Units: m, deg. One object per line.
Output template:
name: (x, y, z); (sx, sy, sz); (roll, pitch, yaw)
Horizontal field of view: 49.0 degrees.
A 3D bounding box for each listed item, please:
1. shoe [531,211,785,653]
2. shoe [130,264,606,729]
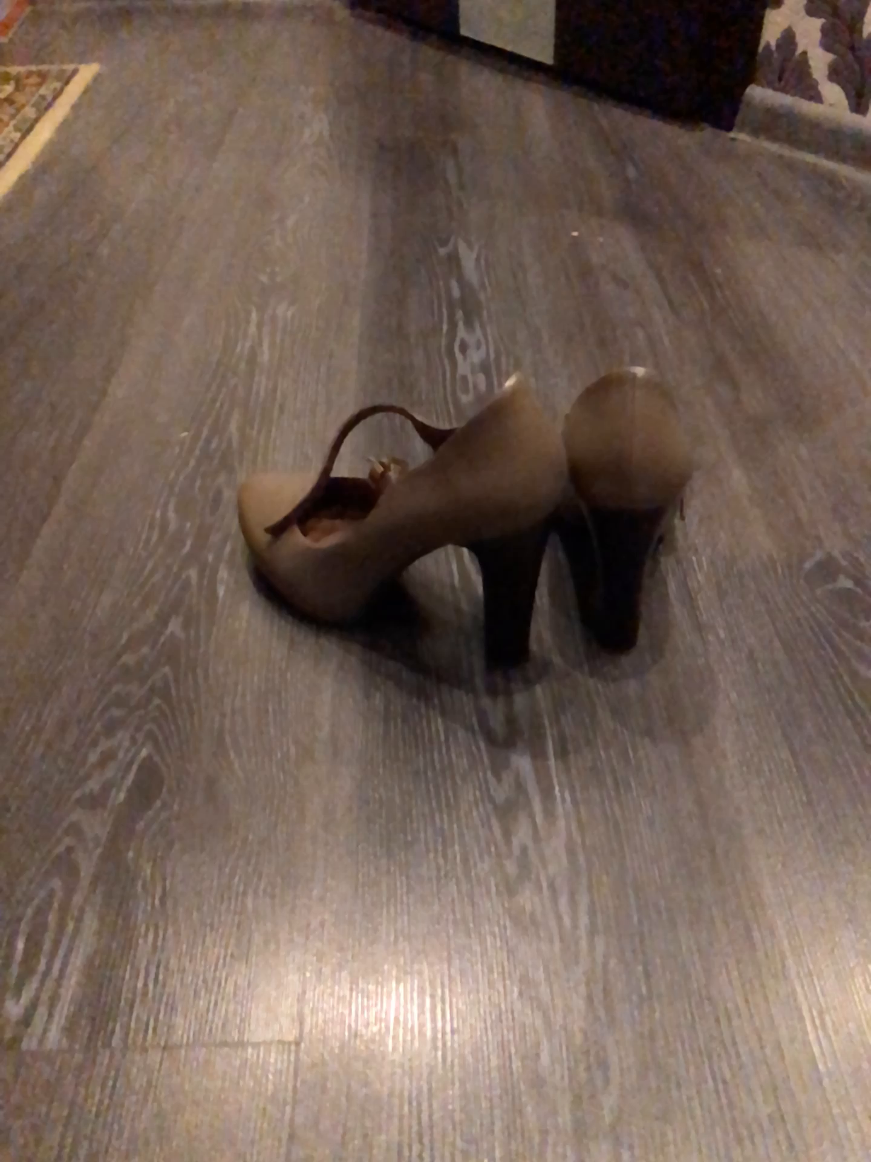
shoe: (0.105, -0.089, 0.528); (0.090, 0.149, 0.211); (0, 41, 2)
shoe: (-0.035, -0.050, 0.488); (0.211, 0.149, 0.090); (26, 49, 28)
